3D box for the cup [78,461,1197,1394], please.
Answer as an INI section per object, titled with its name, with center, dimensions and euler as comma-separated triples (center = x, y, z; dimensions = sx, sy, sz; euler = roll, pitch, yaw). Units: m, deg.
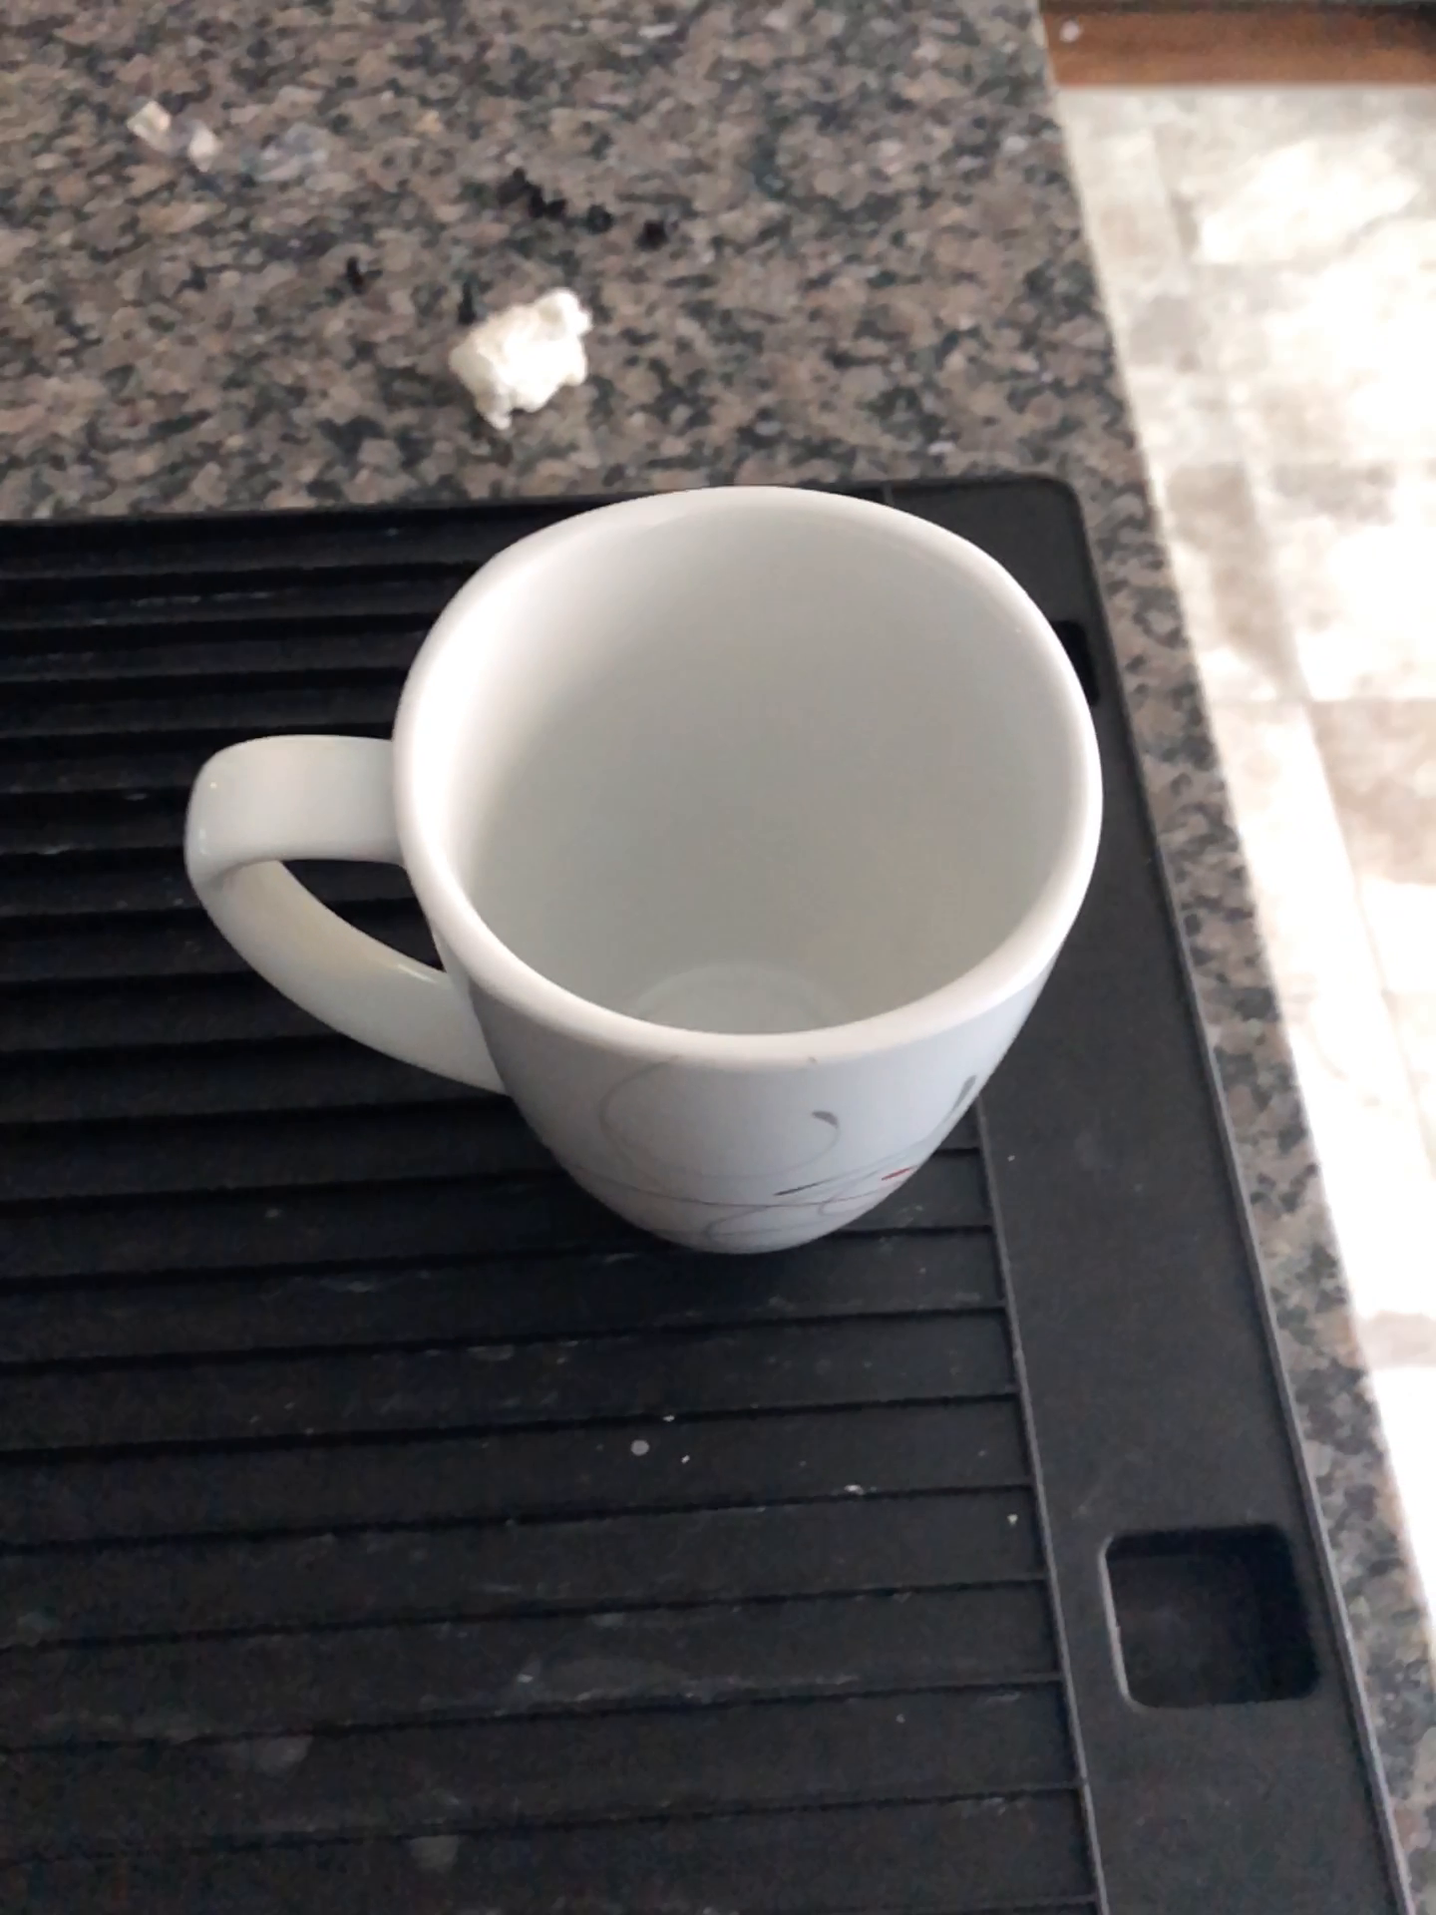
[cup]
center = -0.012, 0.002, 0.234
dimensions = 0.116, 0.105, 0.088
euler = -3, 60, -3
